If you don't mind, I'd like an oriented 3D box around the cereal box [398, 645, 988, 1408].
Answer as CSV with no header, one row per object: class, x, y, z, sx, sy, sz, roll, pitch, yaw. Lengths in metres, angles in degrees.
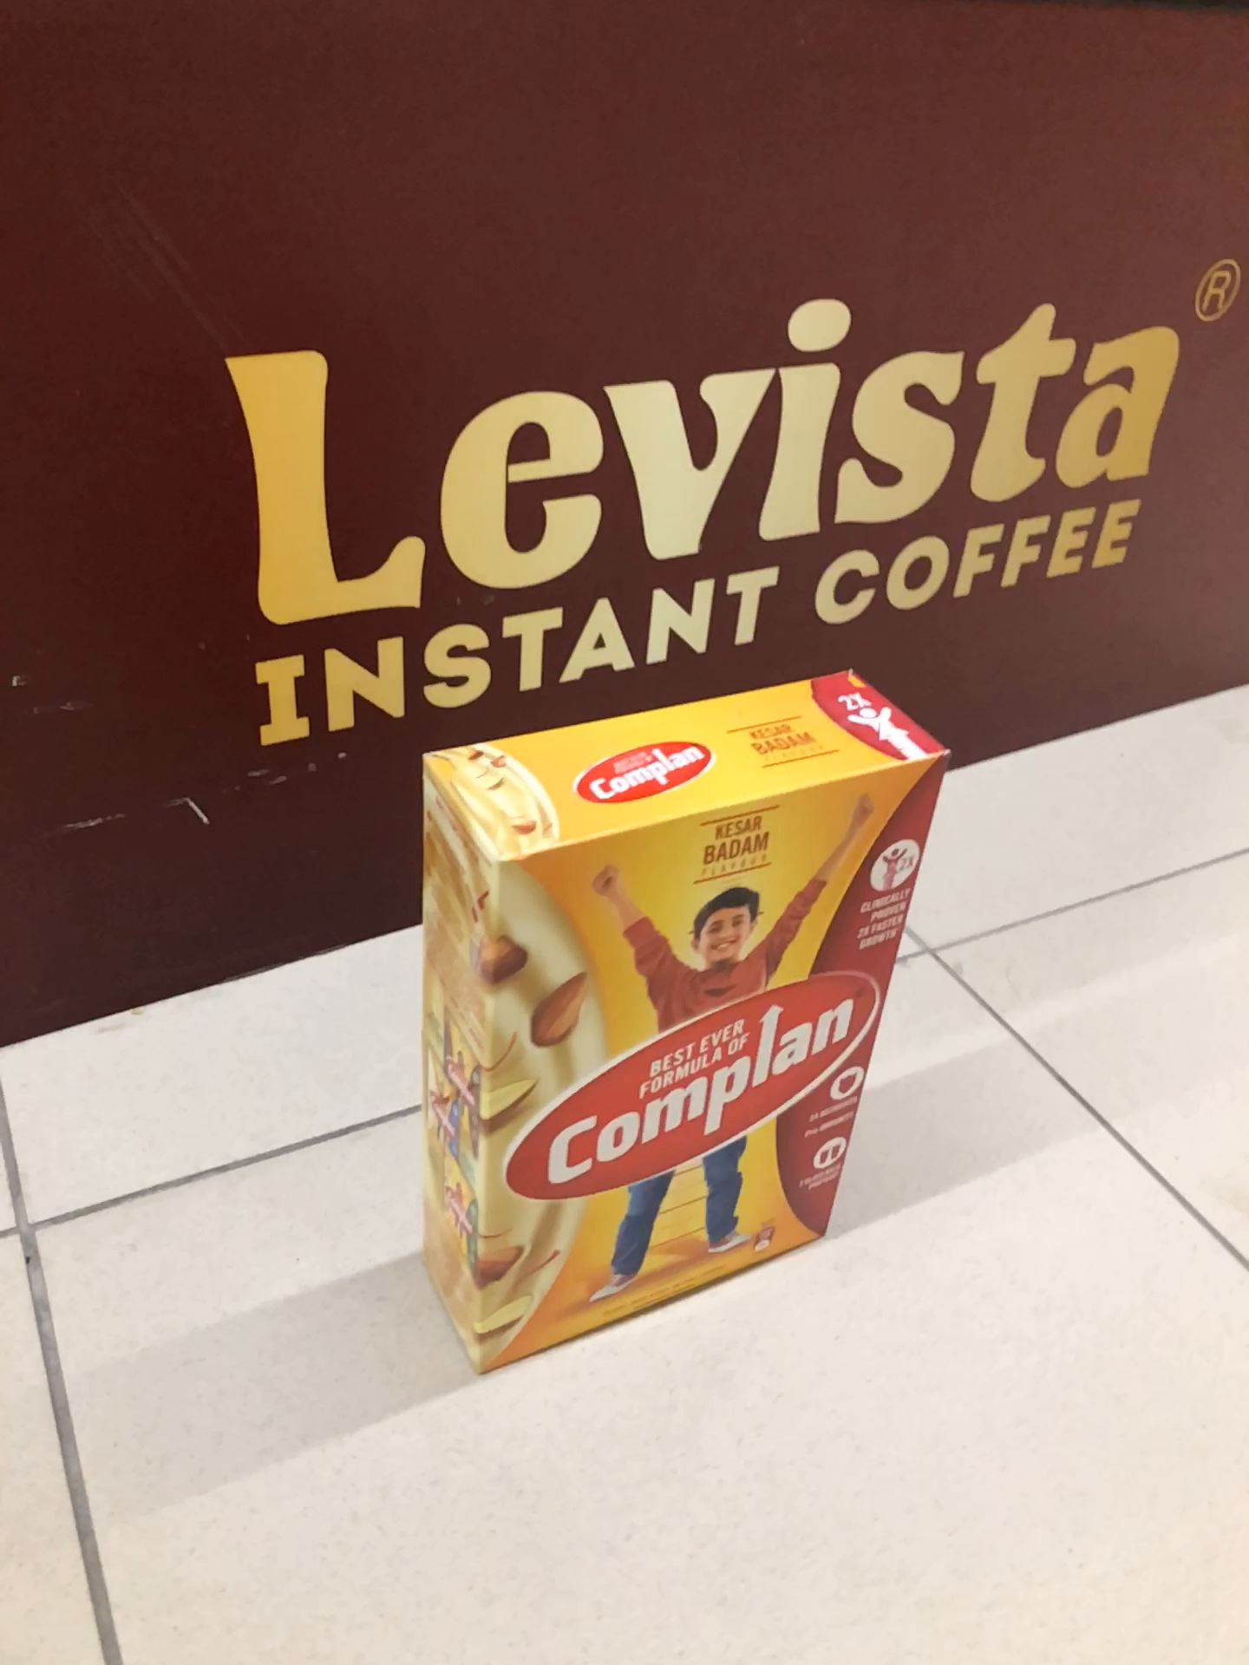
cereal box,0.013,0.064,0.436,0.151,0.218,0.060,-14,39,-24
